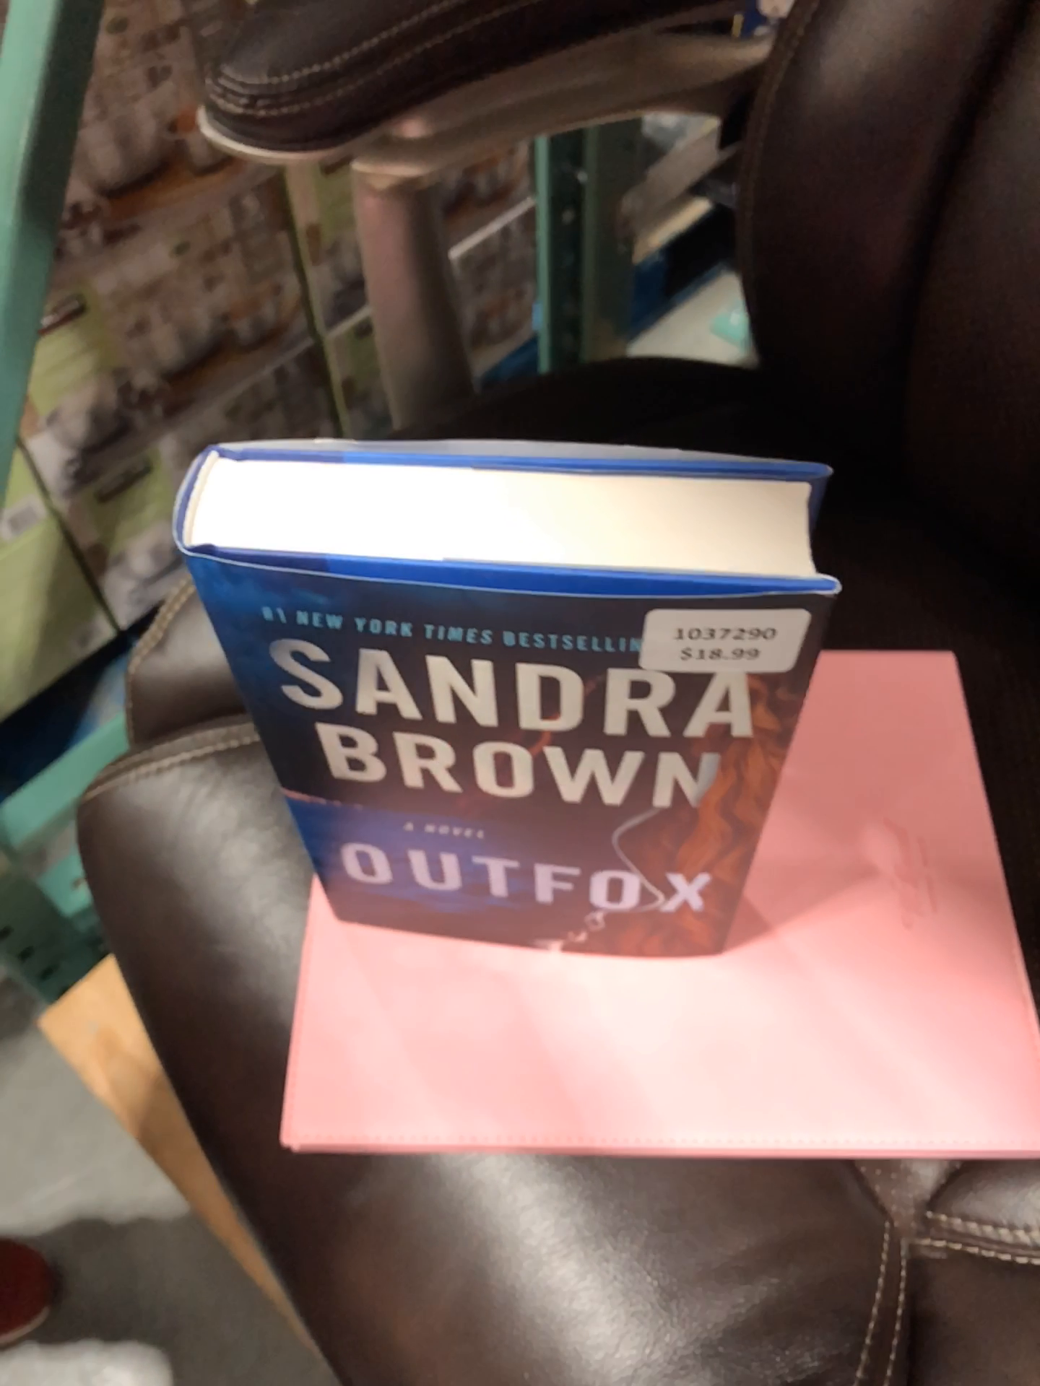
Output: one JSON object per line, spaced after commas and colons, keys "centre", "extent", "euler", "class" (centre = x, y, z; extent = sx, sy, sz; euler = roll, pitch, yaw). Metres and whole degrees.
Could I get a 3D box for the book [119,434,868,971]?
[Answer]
{"centre": [-0.002, 0.021, 0.369], "extent": [0.167, 0.228, 0.048], "euler": [4, 59, 4], "class": "book"}
